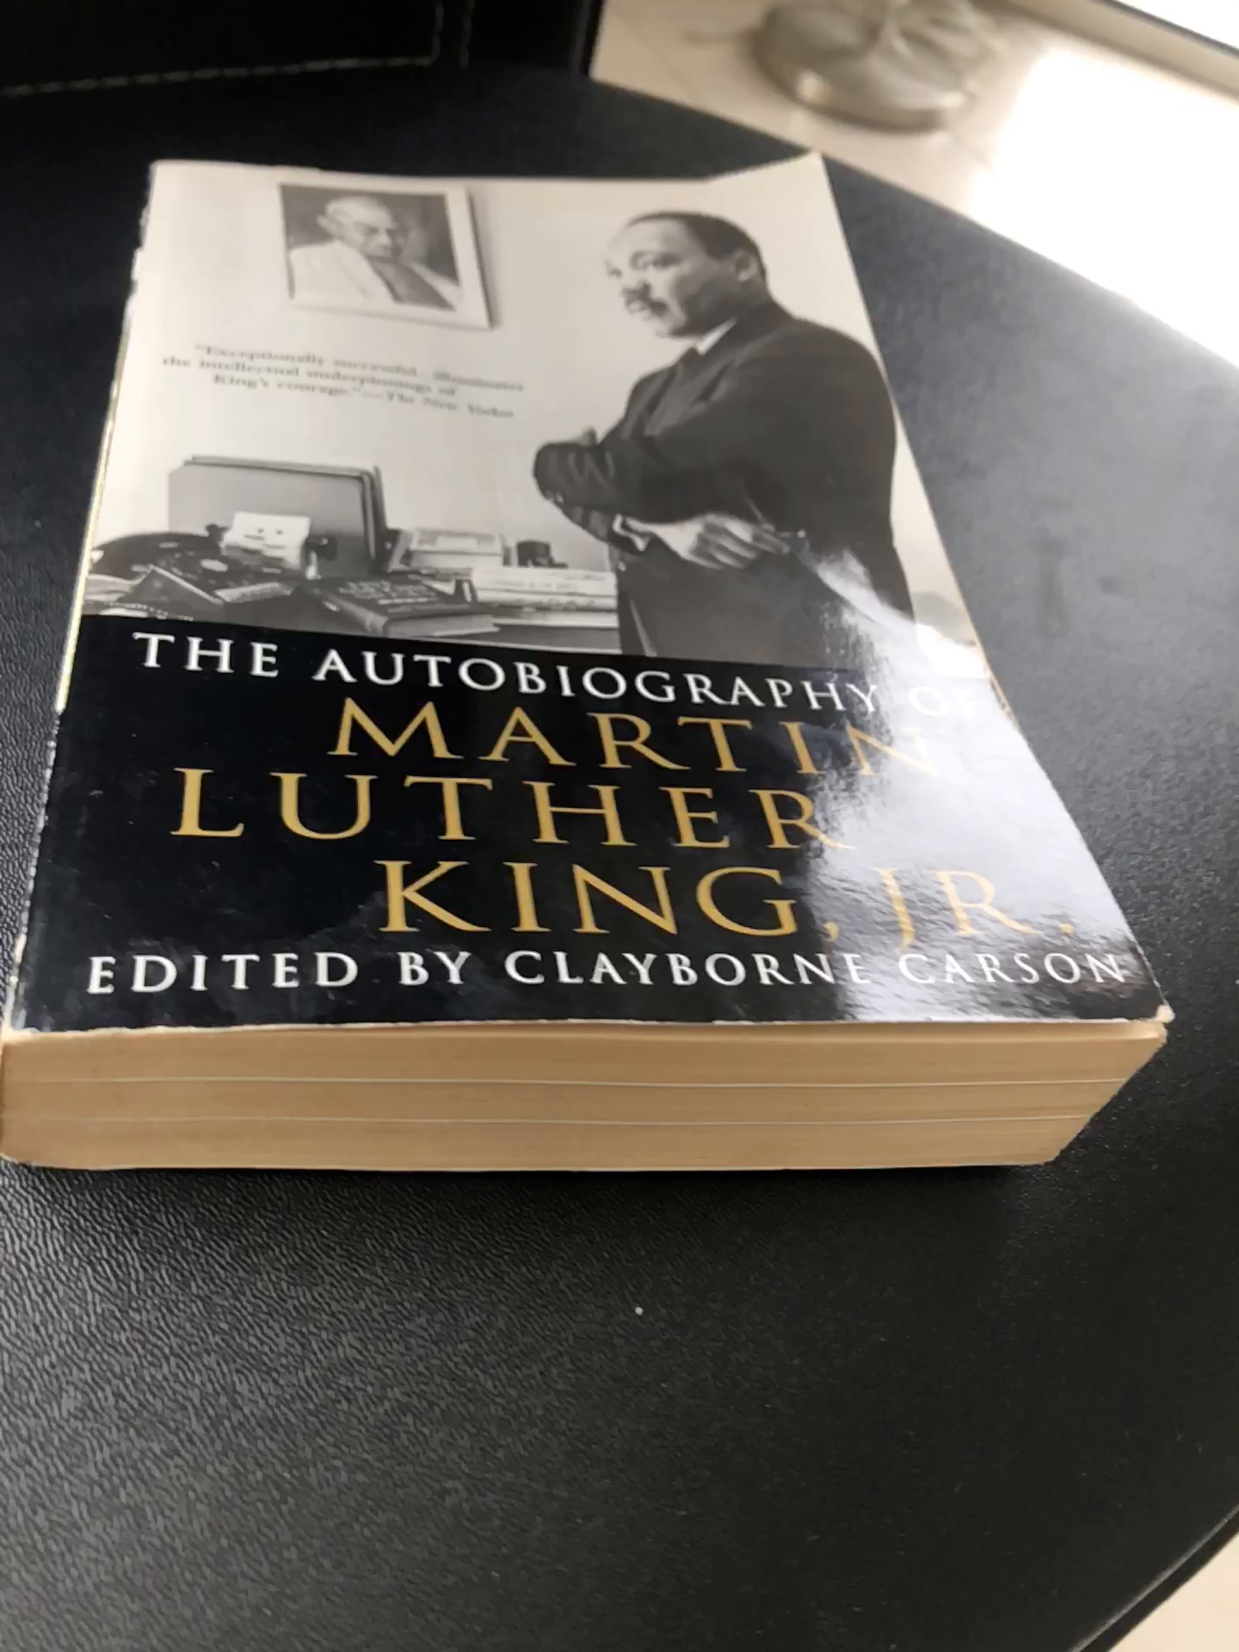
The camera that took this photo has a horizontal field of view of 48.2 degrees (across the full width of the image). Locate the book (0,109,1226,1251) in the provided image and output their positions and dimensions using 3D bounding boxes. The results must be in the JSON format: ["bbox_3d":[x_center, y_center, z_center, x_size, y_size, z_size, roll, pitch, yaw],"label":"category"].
[{"bbox_3d":[-0.017,-0.050,0.255,0.160,0.050,0.231,-2,52,-8],"label":"book"}]
